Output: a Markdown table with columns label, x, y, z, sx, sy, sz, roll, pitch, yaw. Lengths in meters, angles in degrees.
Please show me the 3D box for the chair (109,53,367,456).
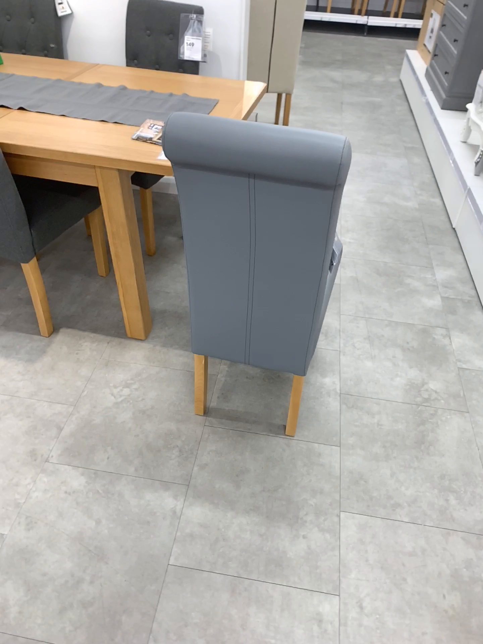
| label | x | y | z | sx | sy | sz | roll | pitch | yaw |
| --- | --- | --- | --- | --- | --- | --- | --- | --- | --- |
| chair | 0.029 | -0.193 | 1.458 | 0.472 | 0.906 | 0.660 | 10 | 41 | 8 |
